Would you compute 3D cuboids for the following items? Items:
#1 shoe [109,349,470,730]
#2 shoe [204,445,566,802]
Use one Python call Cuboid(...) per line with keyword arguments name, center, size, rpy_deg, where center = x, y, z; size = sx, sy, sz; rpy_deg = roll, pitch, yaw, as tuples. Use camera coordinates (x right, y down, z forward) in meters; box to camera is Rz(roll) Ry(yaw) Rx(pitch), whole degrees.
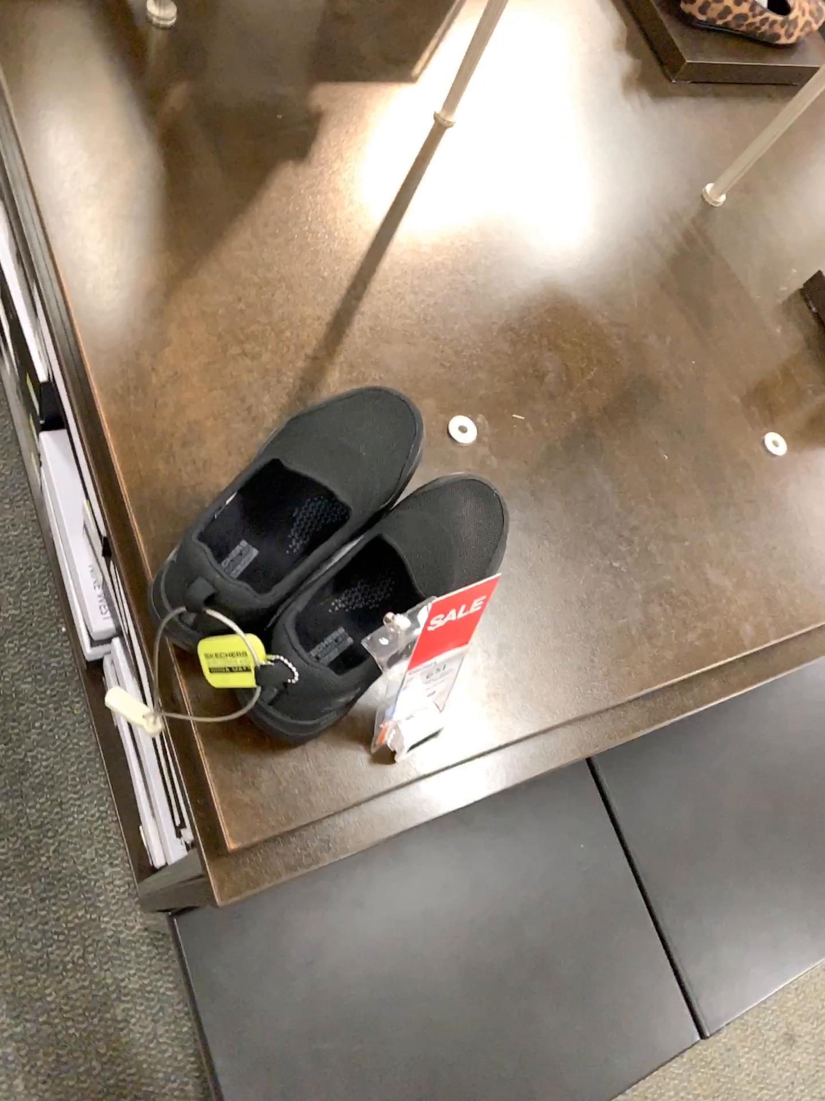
Cuboid(name="shoe", center=(-0.081, -0.011, 0.582), size=(0.094, 0.110, 0.245), rpy_deg=(41, 59, -1))
Cuboid(name="shoe", center=(-0.017, 0.047, 0.580), size=(0.094, 0.110, 0.231), rpy_deg=(46, 59, 2))
